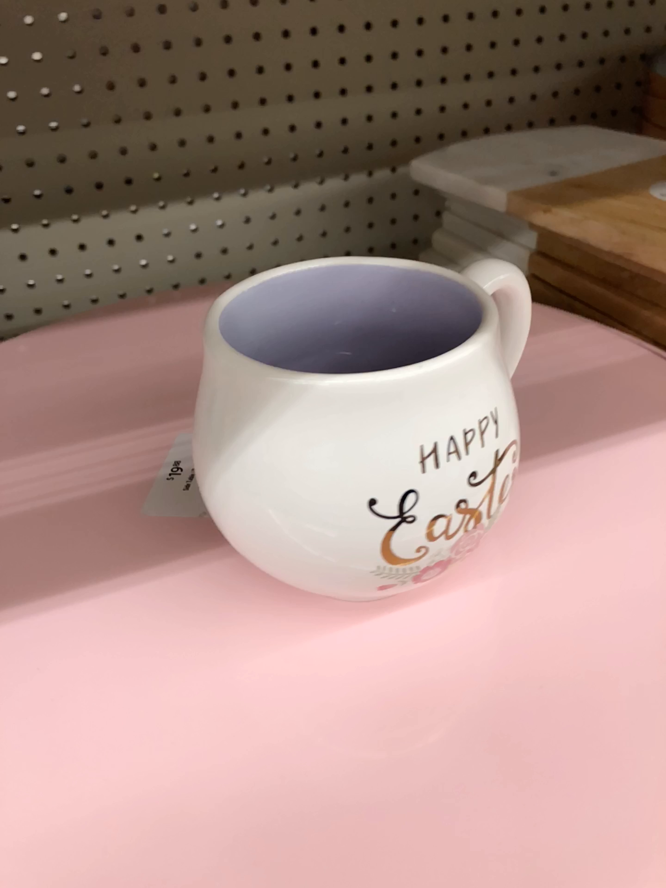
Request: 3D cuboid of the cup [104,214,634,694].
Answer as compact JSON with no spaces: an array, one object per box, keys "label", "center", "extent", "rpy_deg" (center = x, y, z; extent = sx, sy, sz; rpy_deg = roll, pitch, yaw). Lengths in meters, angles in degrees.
[{"label":"cup","center":[0.015,-0.010,0.242],"extent":[0.130,0.080,0.090],"rpy_deg":[-29,42,-33]}]
